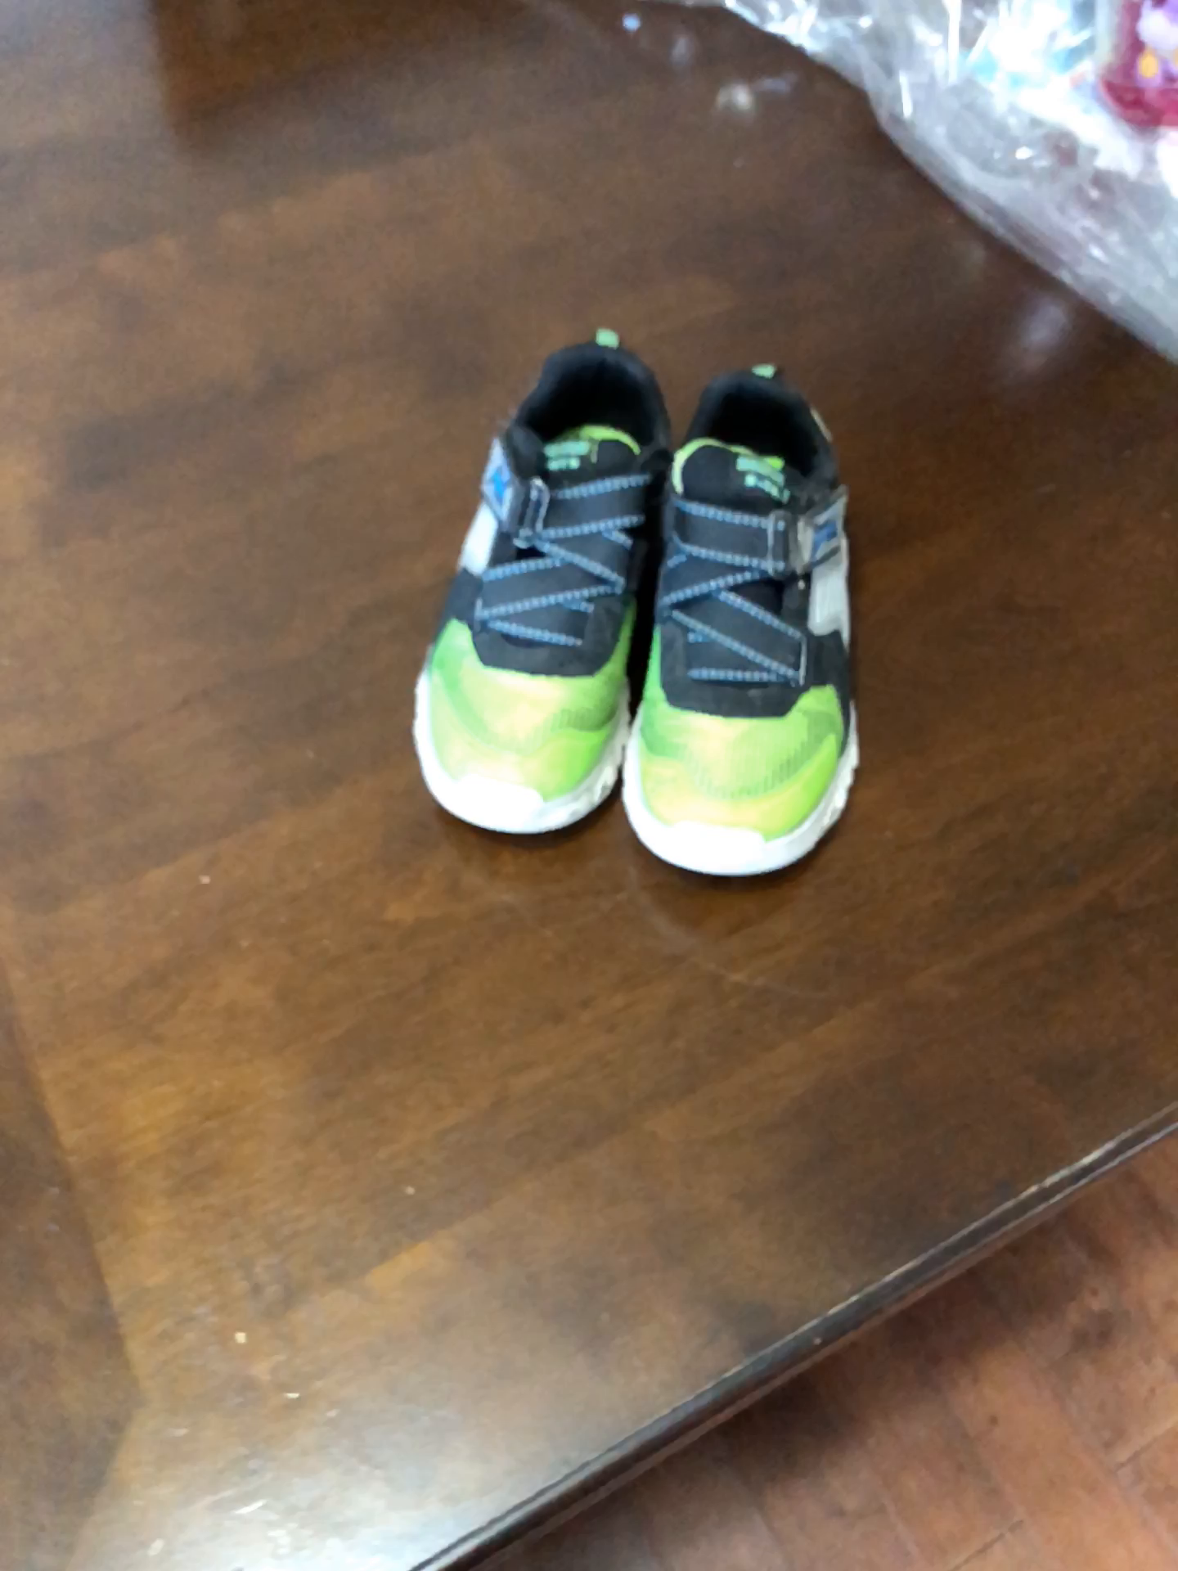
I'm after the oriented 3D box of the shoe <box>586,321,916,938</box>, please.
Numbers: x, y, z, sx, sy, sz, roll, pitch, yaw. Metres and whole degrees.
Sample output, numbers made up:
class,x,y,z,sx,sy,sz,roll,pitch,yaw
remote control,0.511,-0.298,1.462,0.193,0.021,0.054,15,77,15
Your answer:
class,x,y,z,sx,sy,sz,roll,pitch,yaw
shoe,0.064,-0.064,0.506,0.100,0.100,0.210,7,58,4

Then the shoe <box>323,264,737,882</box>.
class,x,y,z,sx,sy,sz,roll,pitch,yaw
shoe,-0.013,-0.087,0.509,0.100,0.100,0.210,10,58,7
